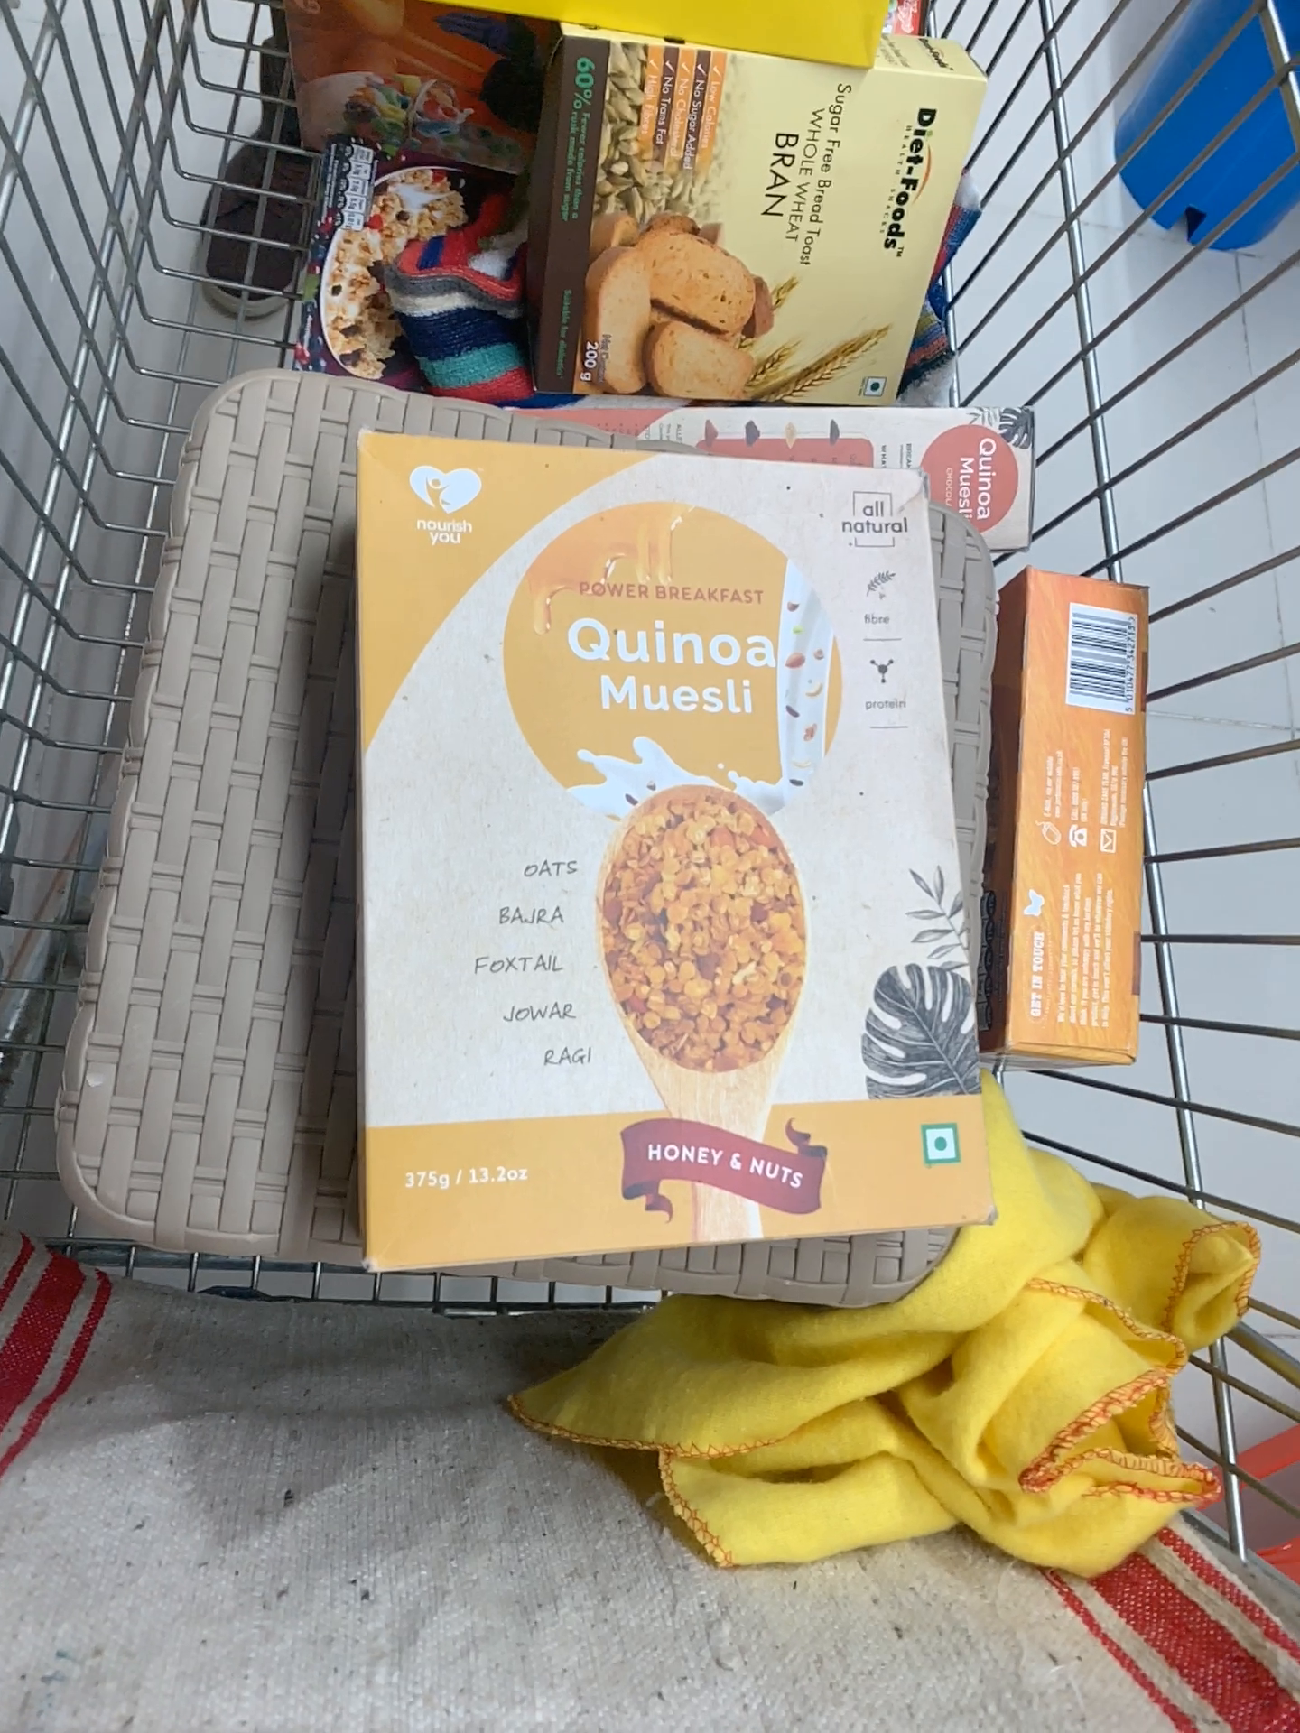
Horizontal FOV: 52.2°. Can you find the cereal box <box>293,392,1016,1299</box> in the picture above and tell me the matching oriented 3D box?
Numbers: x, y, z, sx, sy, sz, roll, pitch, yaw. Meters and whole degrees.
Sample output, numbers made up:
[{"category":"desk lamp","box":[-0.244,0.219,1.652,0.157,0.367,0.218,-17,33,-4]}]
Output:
[{"category":"cereal box","box":[-0.008,-0.004,0.343,0.160,0.080,0.200,-1,80,-13]}]
